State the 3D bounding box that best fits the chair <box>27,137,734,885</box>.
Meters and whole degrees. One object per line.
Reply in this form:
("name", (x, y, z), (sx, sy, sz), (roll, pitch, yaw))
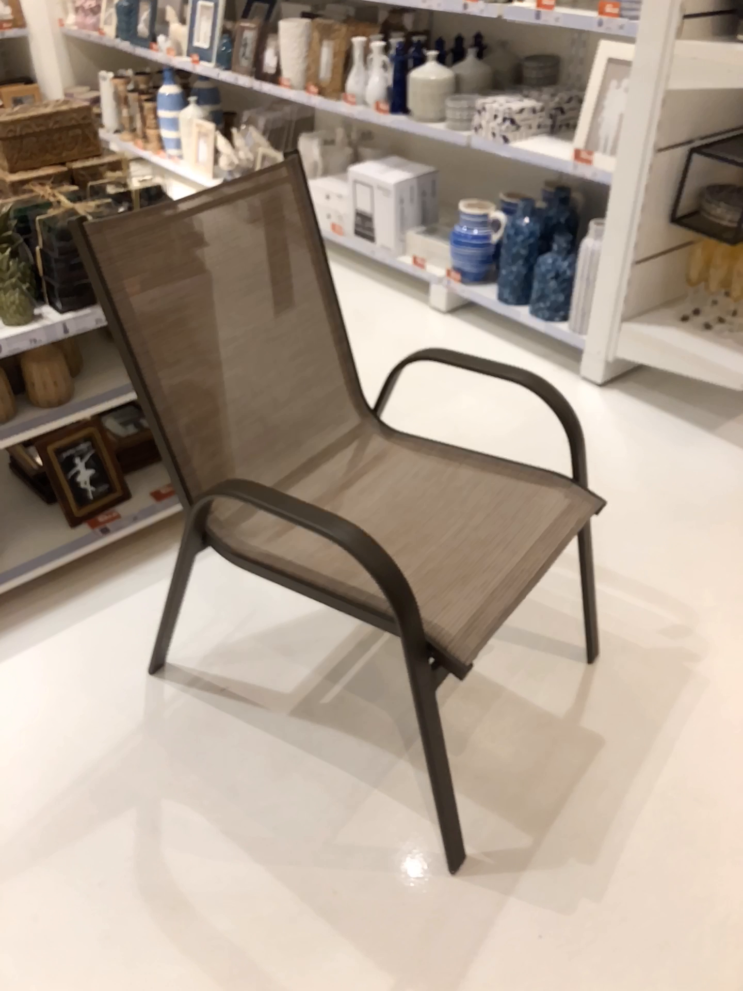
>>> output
("chair", (0.027, -0.035, 1.301), (0.702, 0.794, 0.603), (23, 42, 28))
